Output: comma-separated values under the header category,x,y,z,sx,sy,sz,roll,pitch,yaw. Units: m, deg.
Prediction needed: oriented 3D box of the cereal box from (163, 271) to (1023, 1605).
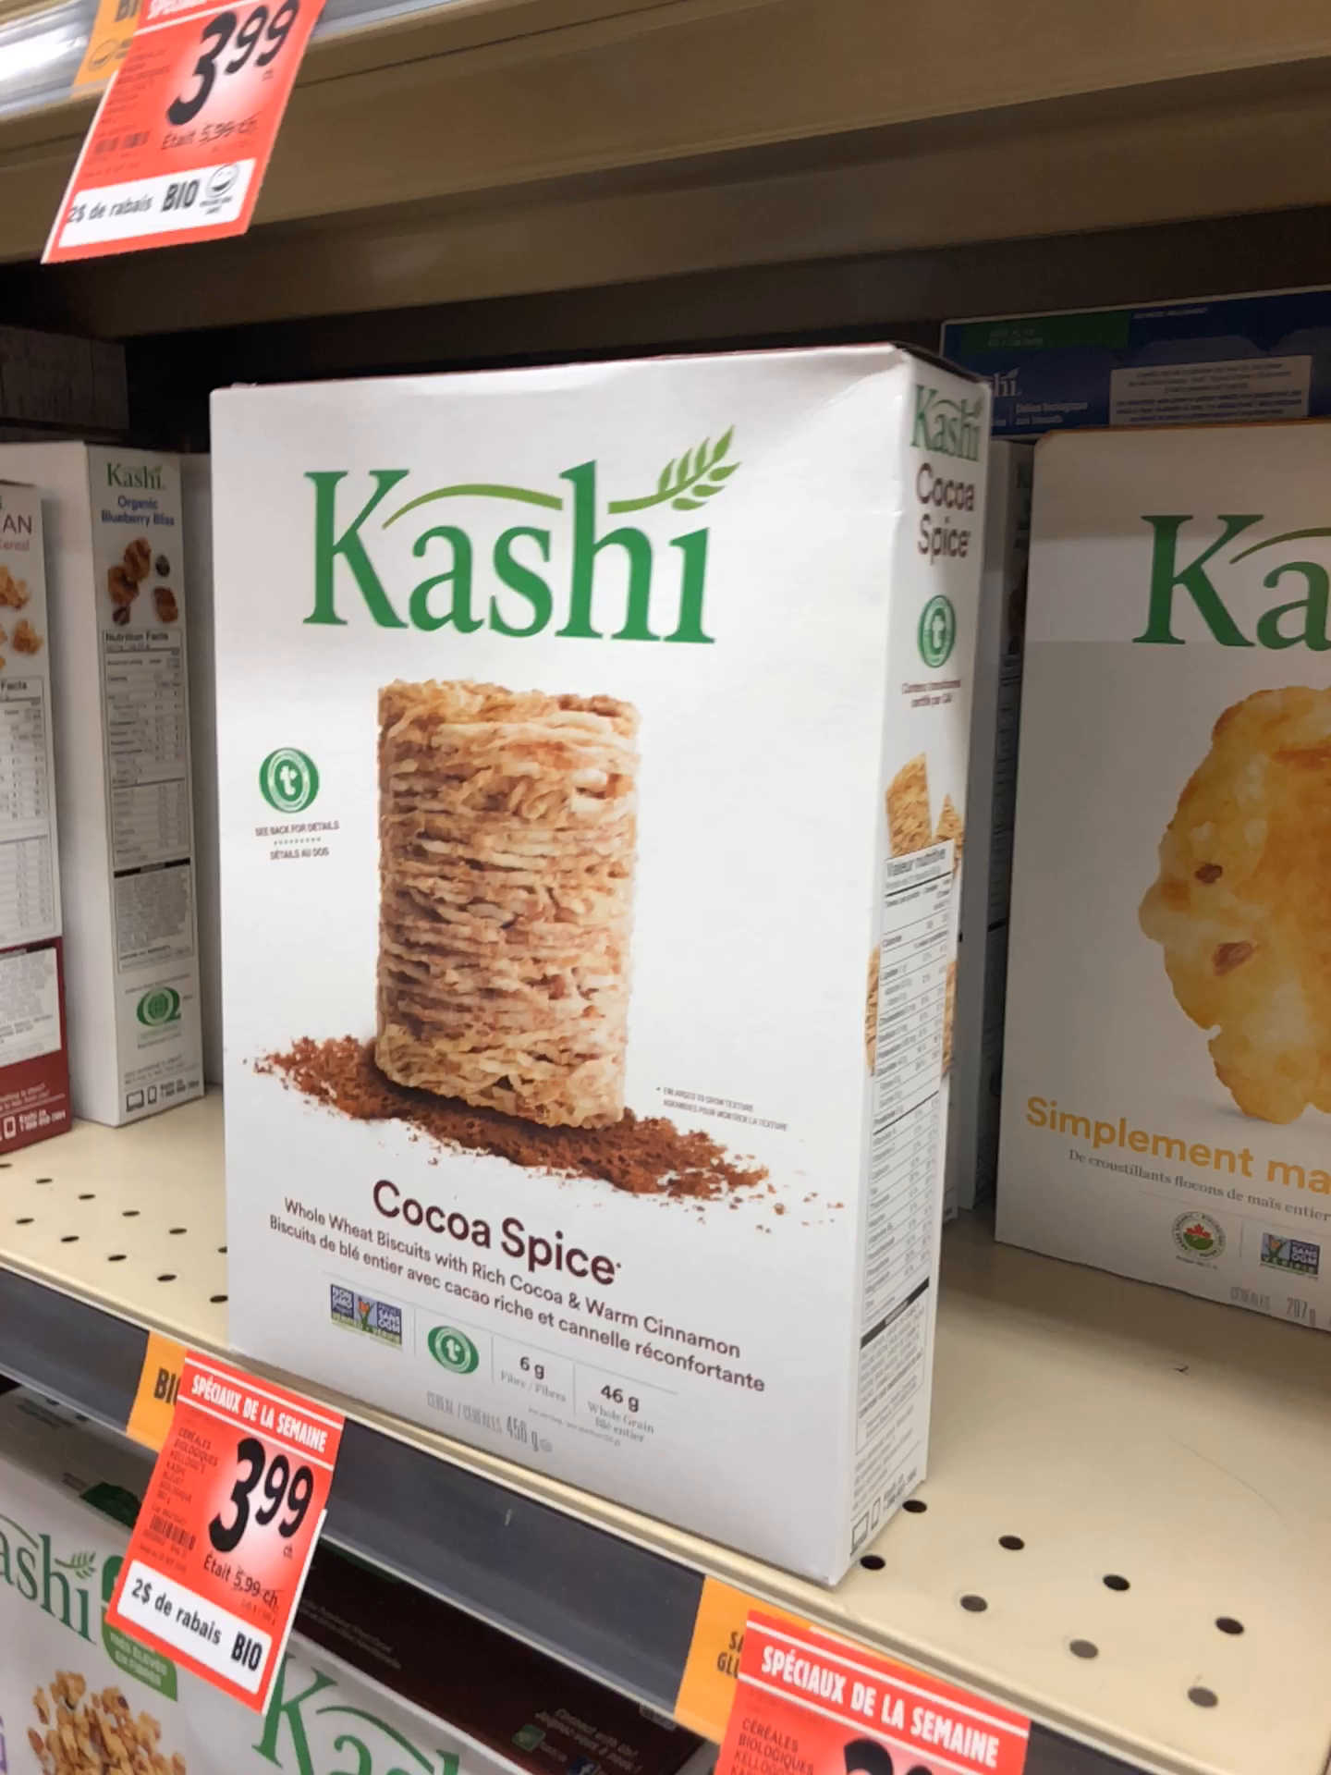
category,x,y,z,sx,sy,sz,roll,pitch,yaw
cereal box,-0.029,0.004,0.380,0.210,0.279,0.060,7,12,30
